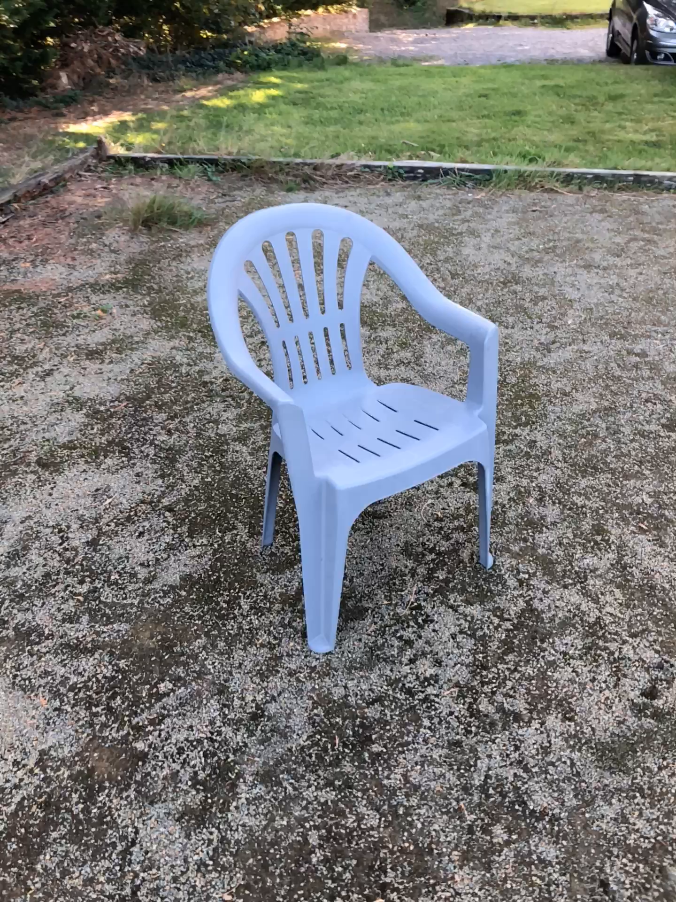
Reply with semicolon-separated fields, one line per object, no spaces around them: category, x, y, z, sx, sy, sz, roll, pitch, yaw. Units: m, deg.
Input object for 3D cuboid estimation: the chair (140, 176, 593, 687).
chair;0.037;-0.090;1.622;0.632;0.775;0.622;-19;38;-24
